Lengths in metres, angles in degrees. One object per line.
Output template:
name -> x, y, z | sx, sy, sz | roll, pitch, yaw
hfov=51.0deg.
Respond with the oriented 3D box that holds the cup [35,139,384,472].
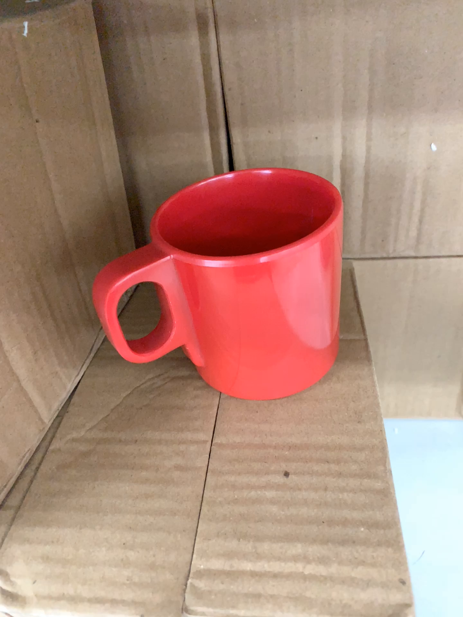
cup -> -0.006, -0.007, 0.204 | 0.110, 0.079, 0.070 | -24, 42, -18
